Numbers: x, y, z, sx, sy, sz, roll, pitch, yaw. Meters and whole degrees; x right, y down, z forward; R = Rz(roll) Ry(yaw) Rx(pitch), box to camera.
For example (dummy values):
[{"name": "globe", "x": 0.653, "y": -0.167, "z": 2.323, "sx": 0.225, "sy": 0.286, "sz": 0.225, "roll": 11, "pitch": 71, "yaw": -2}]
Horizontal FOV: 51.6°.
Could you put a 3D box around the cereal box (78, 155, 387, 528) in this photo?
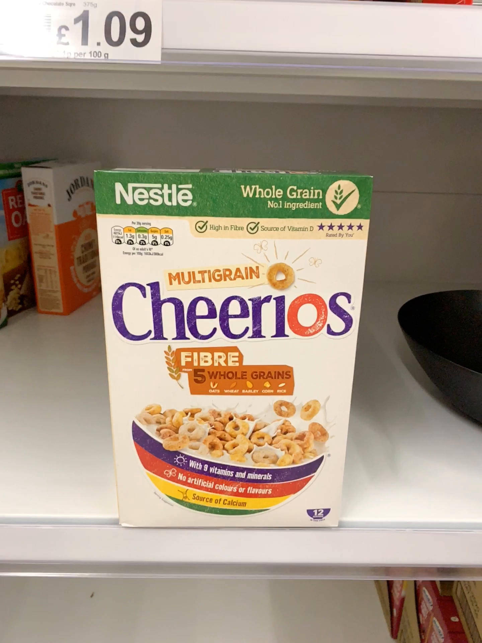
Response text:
[{"name": "cereal box", "x": -0.009, "y": 0.021, "z": 0.399, "sx": 0.200, "sy": 0.288, "sz": 0.070, "roll": 1, "pitch": 18, "yaw": -2}]
